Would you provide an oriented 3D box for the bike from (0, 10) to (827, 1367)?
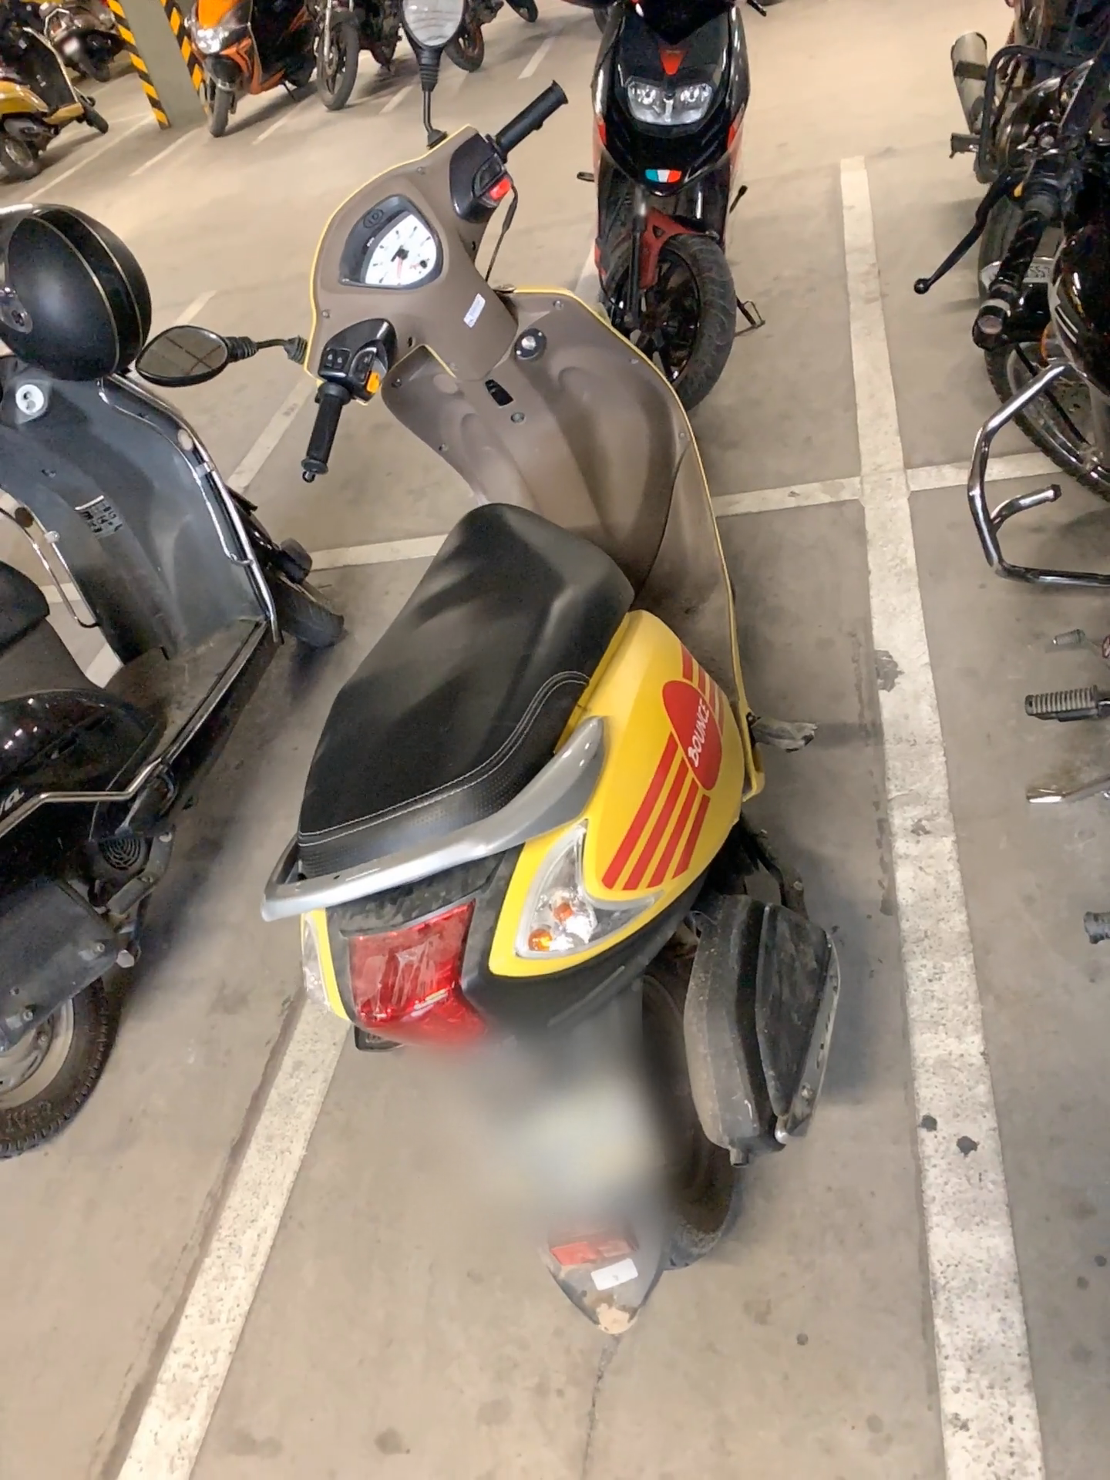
[{"bbox_3d":[-0.008,-0.244,1.621,0.567,1.048,1.712,-7,38,13],"label":"bike"}]
